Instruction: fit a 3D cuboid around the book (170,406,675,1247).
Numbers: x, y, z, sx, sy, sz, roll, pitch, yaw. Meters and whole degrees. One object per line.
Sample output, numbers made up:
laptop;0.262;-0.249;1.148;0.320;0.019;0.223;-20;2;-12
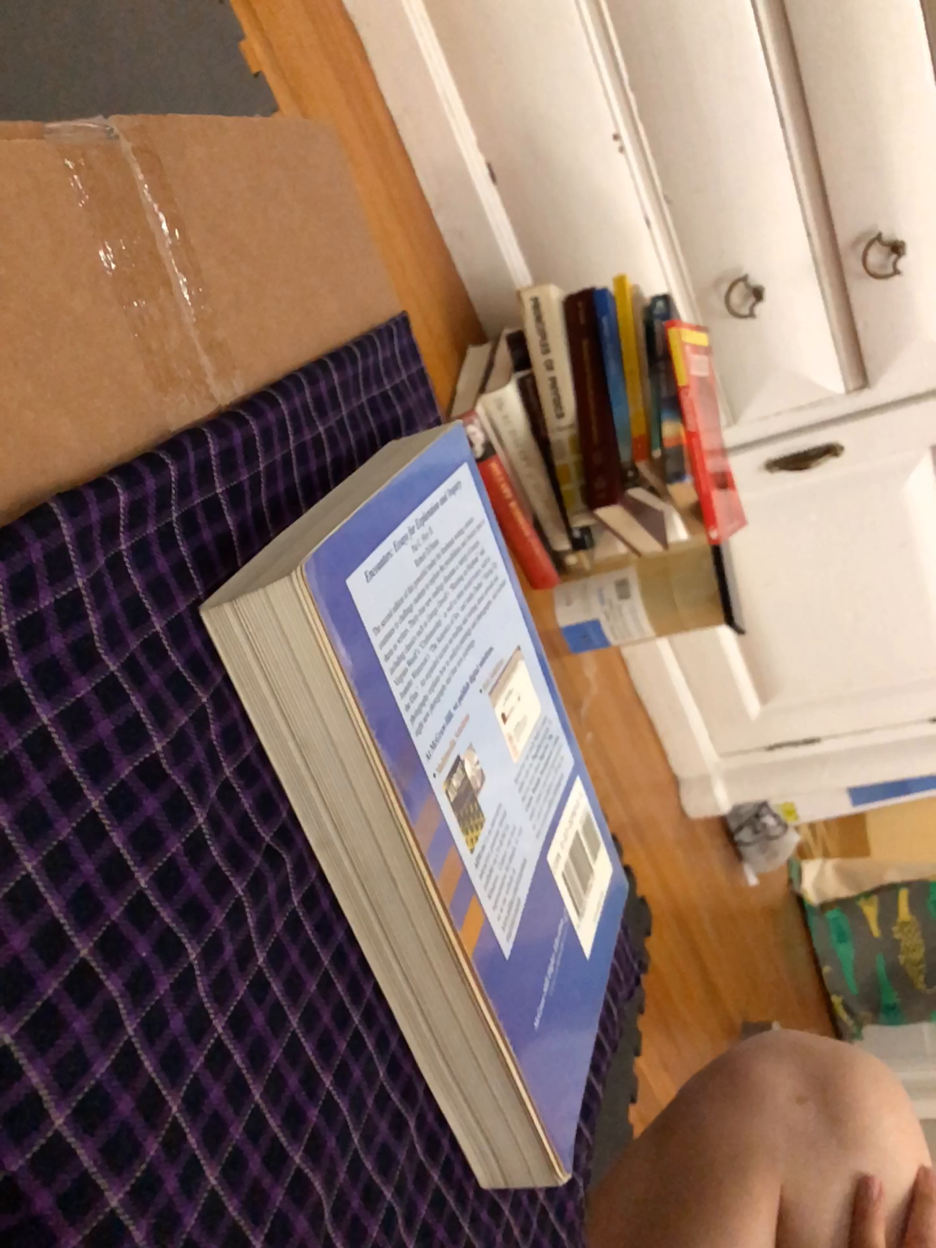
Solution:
book;0.010;0.065;0.374;0.240;0.040;0.181;68;25;-20
